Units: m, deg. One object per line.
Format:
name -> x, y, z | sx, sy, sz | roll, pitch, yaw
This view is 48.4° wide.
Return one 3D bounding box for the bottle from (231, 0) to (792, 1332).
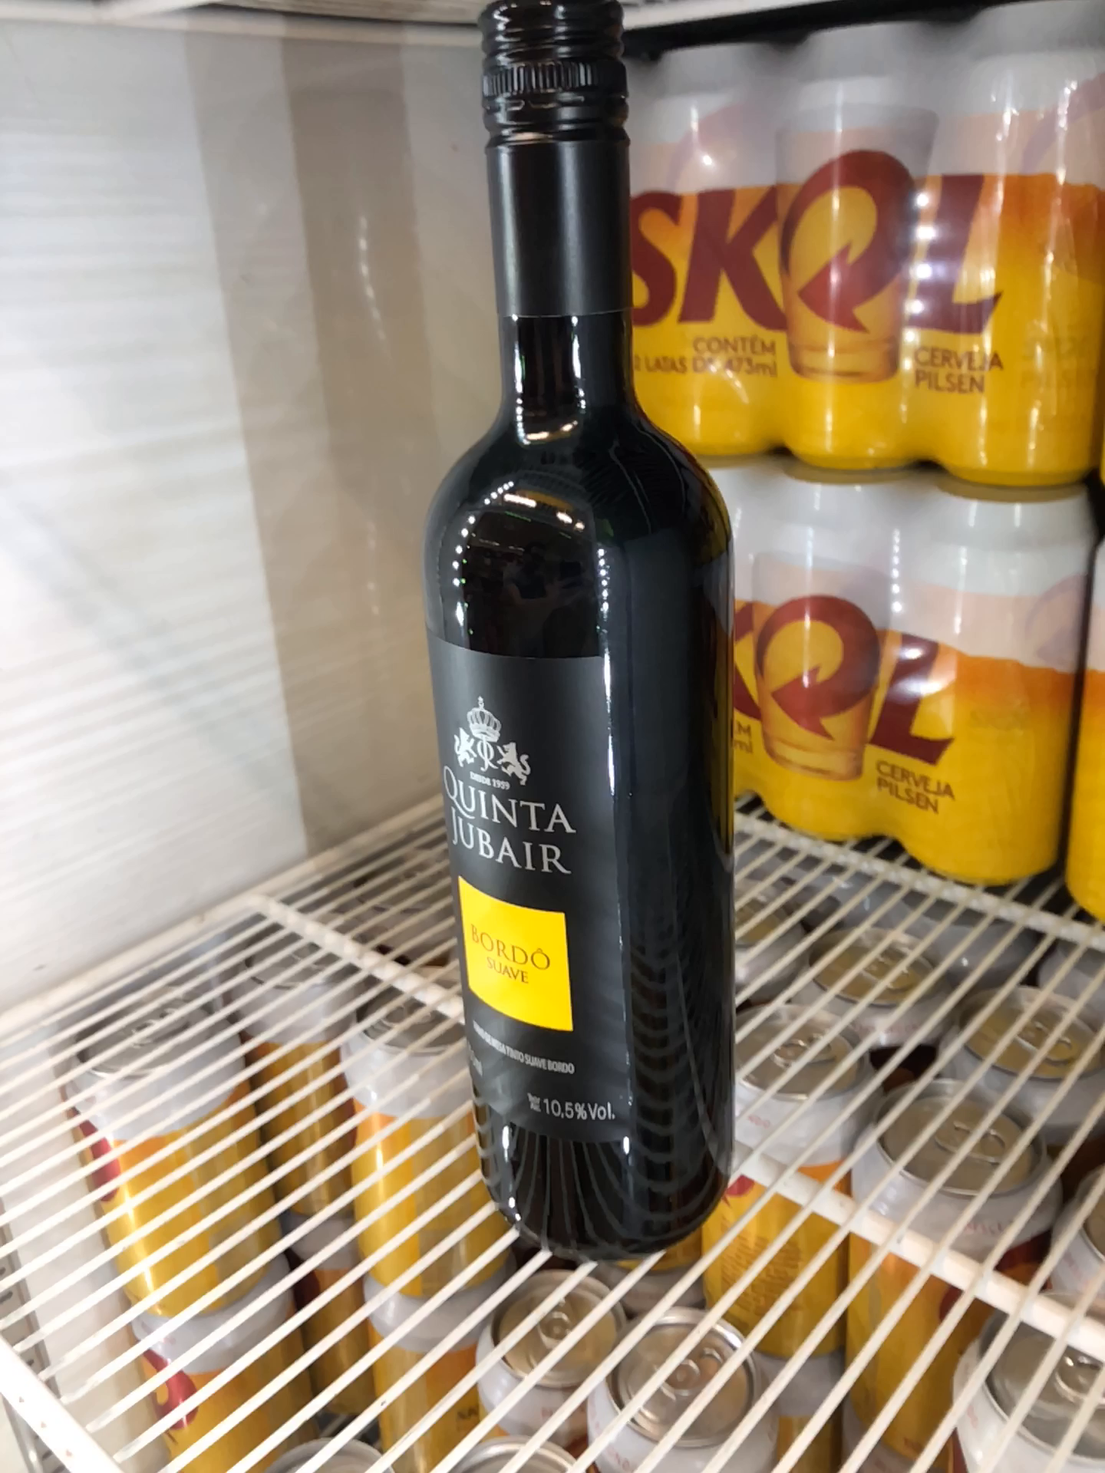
bottle -> 0.002, -0.011, 0.288 | 0.080, 0.288, 0.070 | 16, 30, 40
